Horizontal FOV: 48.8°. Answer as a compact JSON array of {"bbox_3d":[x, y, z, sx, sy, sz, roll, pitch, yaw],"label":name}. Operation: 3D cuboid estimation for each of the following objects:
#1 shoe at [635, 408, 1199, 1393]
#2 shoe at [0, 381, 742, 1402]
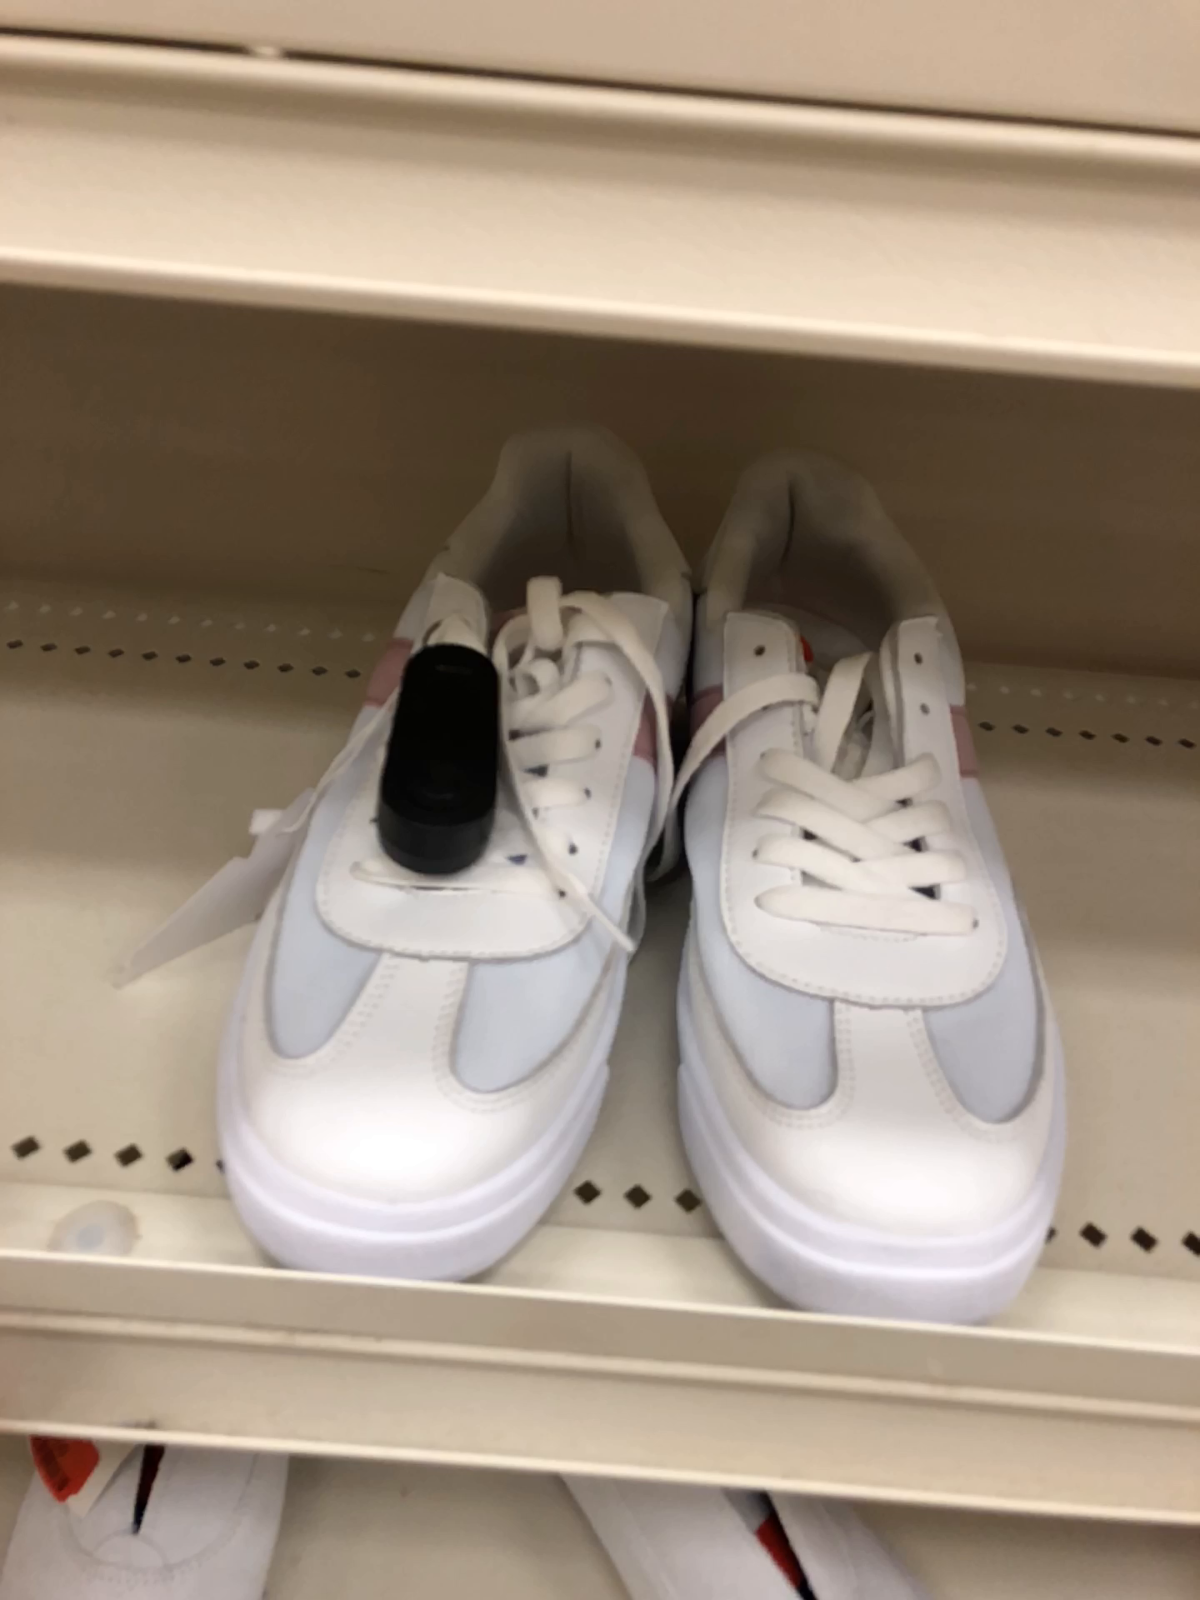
[{"bbox_3d":[0.078,-0.025,0.412,0.120,0.119,0.393,4,25,-1],"label":"shoe"},{"bbox_3d":[-0.025,-0.033,0.398,0.120,0.119,0.393,6,25,3],"label":"shoe"}]
